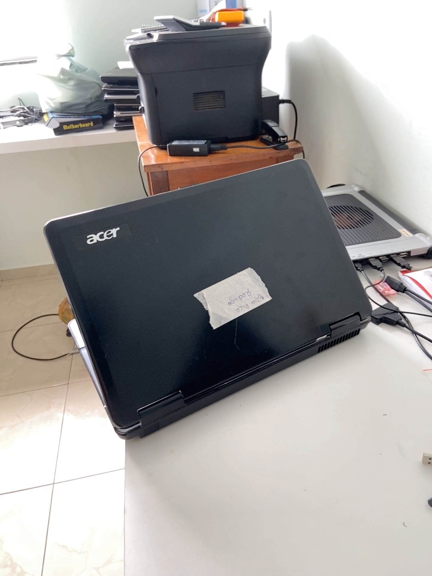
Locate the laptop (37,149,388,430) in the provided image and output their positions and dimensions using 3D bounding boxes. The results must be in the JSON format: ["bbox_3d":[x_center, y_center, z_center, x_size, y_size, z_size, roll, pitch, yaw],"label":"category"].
[{"bbox_3d":[-0.006,-0.033,0.588,0.366,0.183,0.233,-20,34,-22],"label":"laptop"}]
